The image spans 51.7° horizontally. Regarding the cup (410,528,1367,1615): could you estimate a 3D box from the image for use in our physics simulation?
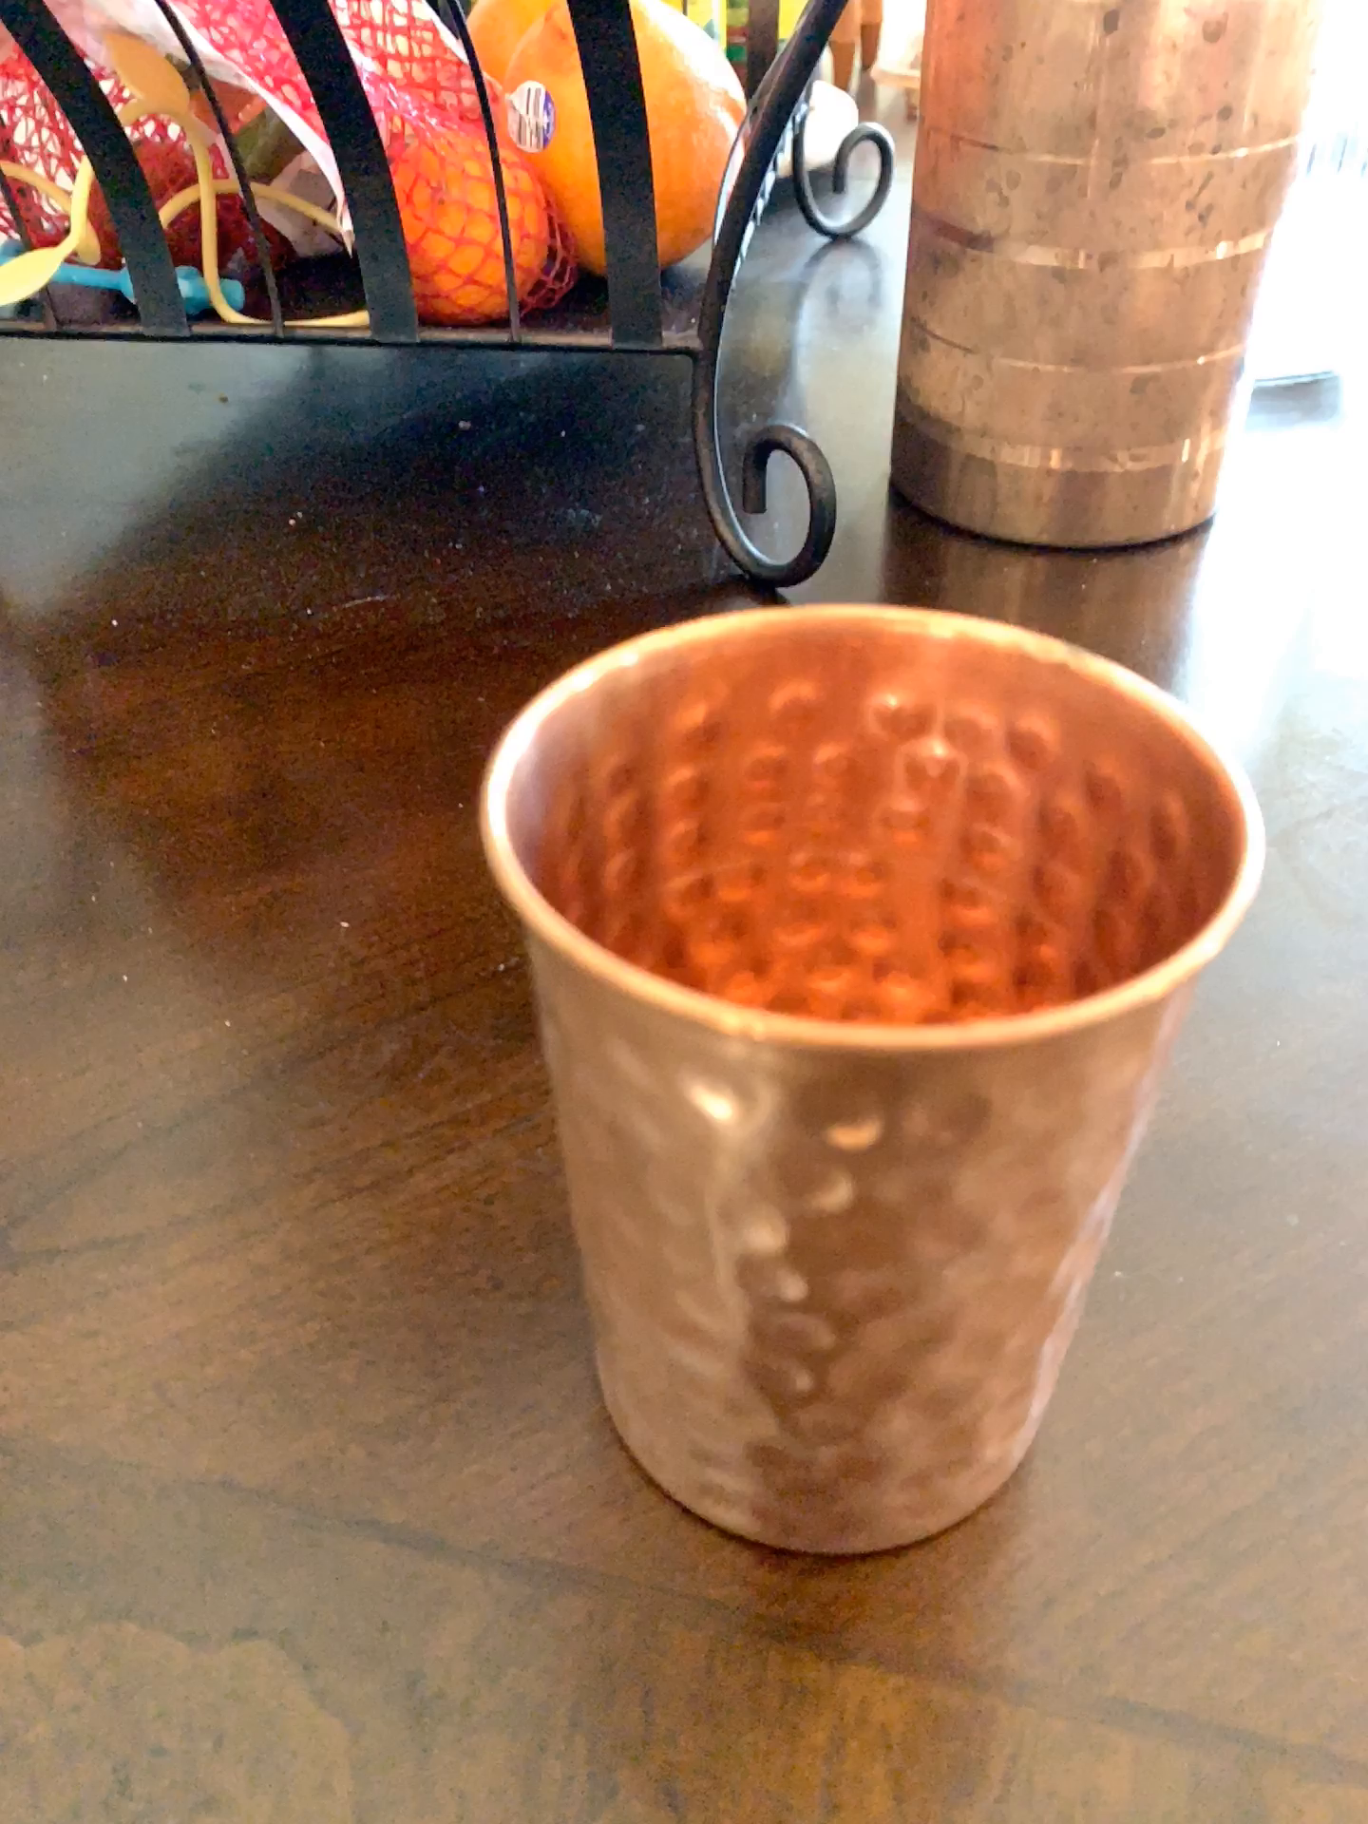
[{"bbox_3d":[0.018,0.015,0.147,0.066,0.083,0.070,0,39,0],"label":"cup"}]
